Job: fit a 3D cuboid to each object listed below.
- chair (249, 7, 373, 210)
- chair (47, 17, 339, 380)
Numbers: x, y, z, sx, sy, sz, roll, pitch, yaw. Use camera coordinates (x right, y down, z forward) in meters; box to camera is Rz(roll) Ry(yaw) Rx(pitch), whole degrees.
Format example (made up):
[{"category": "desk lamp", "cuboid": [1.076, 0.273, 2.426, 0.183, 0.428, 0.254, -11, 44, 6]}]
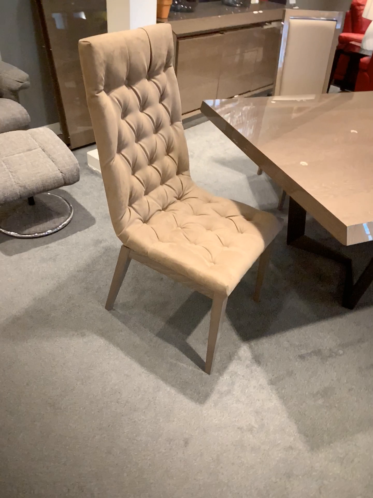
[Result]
[{"category": "chair", "cuboid": [0.820, -0.853, 2.381, 0.523, 1.021, 0.642, -2, 39, -9]}, {"category": "chair", "cuboid": [0.002, -0.175, 1.374, 0.638, 1.021, 0.527, 24, 42, 22]}]
